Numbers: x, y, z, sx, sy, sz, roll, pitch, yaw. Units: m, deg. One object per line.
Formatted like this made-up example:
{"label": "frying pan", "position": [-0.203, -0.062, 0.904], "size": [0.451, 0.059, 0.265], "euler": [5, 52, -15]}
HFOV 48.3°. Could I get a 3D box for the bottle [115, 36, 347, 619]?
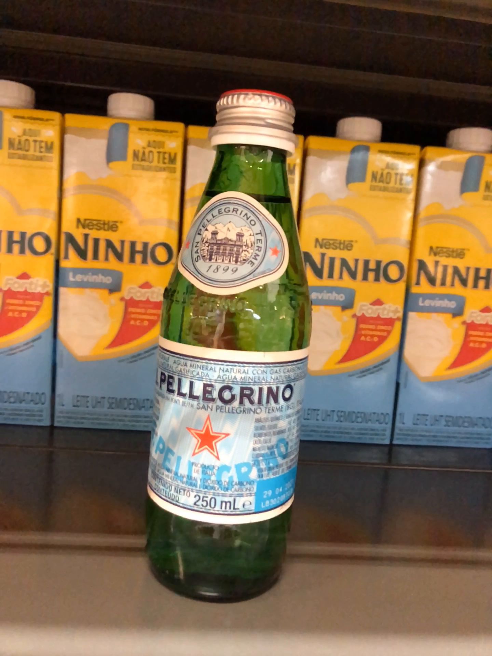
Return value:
{"label": "bottle", "position": [-0.003, -0.001, 0.202], "size": [0.060, 0.179, 0.060], "euler": [4, 9, -1]}
